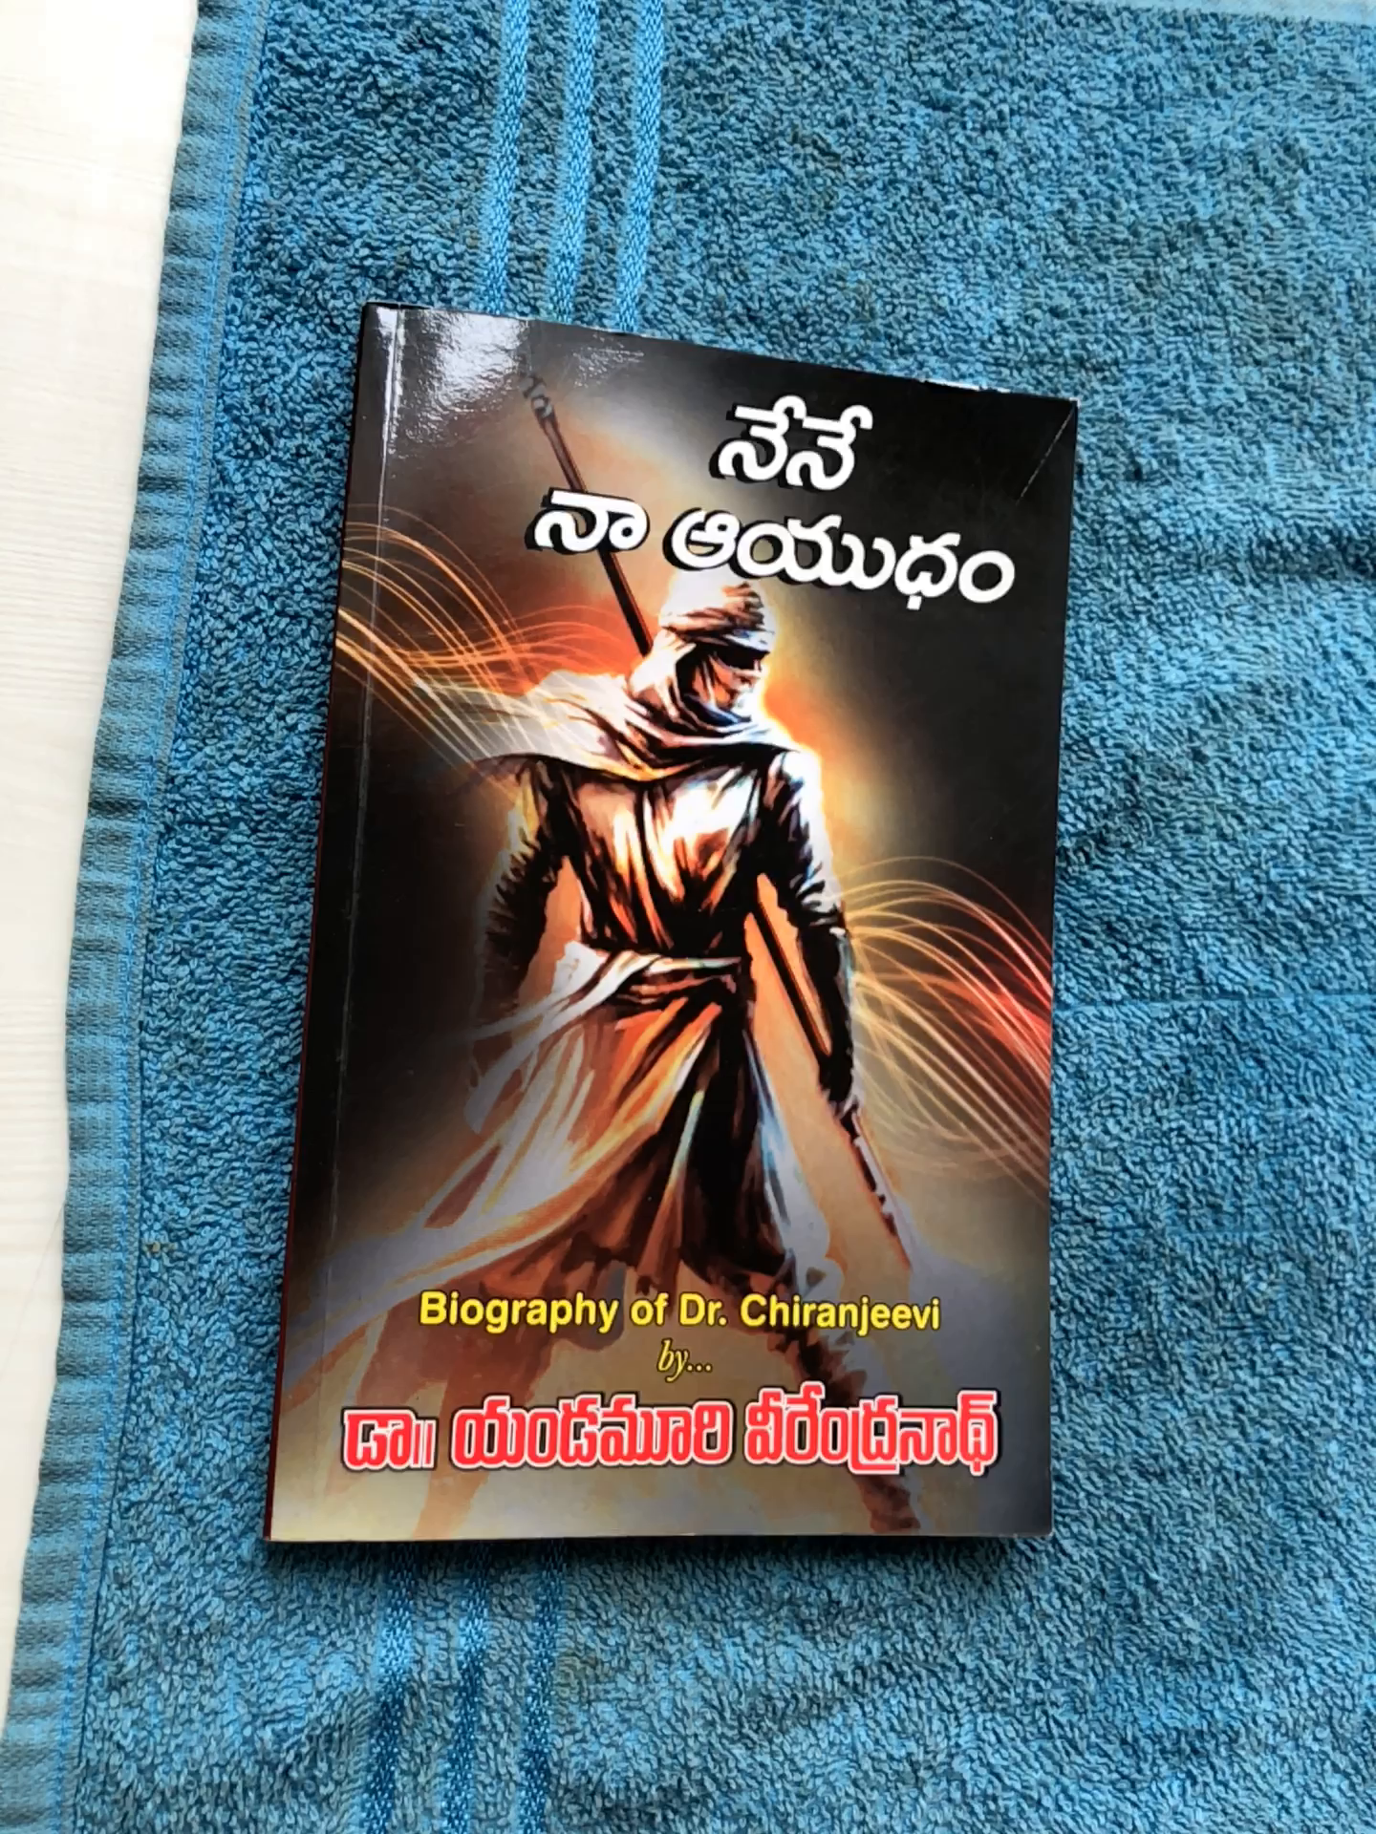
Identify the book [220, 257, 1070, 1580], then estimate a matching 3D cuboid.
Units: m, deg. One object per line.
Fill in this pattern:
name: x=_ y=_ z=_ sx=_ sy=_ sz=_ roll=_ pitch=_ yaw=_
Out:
book: x=-0.003 y=0.002 z=0.284 sx=0.140 sy=0.030 sz=0.220 roll=5 pitch=83 yaw=-13
